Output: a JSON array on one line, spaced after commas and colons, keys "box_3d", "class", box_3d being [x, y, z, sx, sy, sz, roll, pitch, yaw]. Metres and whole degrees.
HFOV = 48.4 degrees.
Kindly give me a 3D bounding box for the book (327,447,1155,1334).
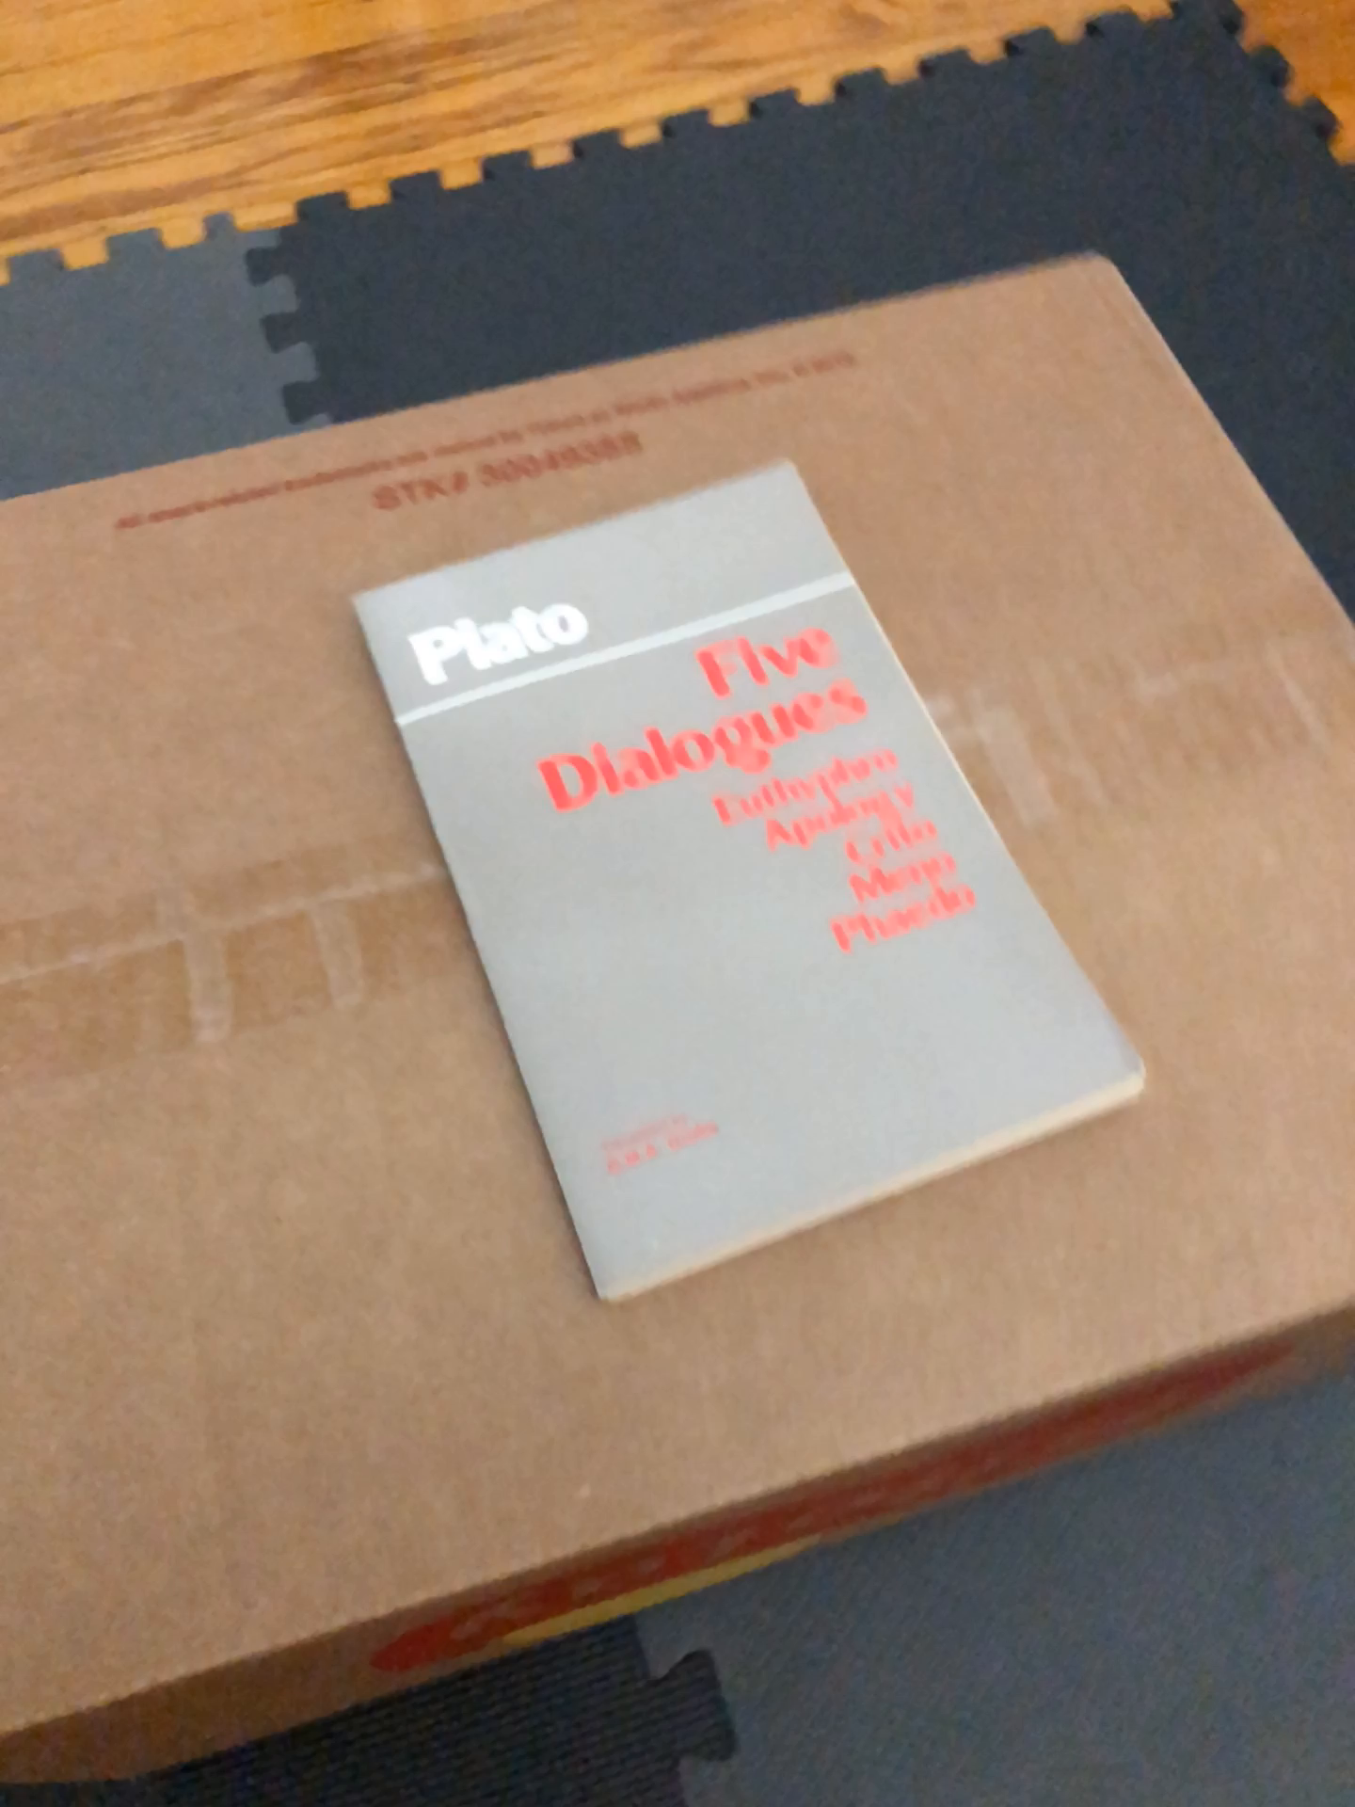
[{"box_3d": [0.006, -0.019, 0.399, 0.140, 0.020, 0.221, -20, 63, -10], "class": "book"}]
